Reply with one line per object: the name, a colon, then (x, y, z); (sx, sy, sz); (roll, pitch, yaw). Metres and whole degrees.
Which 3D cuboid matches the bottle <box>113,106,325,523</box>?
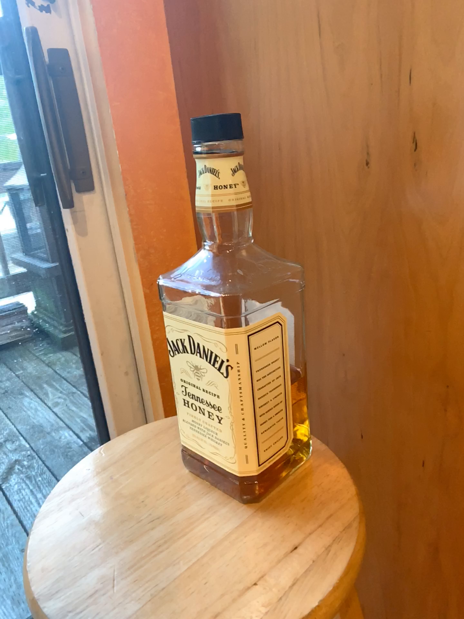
bottle: (-0.001, 0.003, 0.429); (0.120, 0.329, 0.100); (13, 27, 43)
